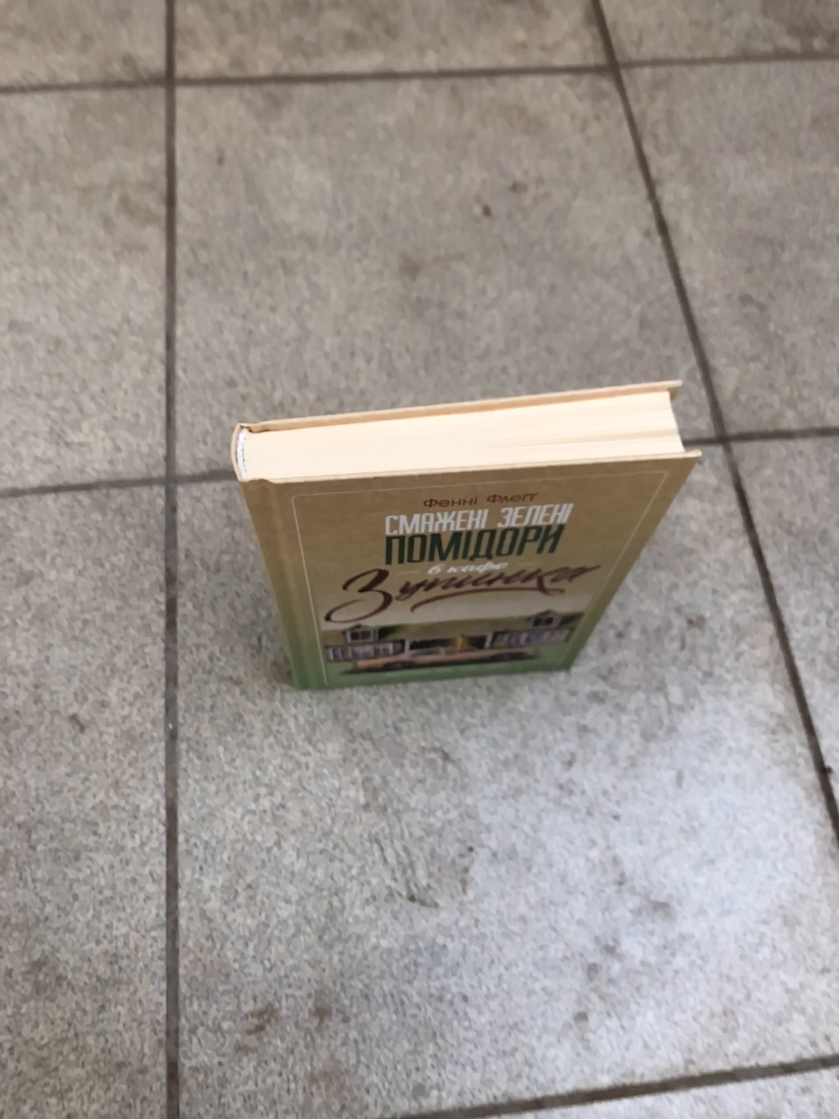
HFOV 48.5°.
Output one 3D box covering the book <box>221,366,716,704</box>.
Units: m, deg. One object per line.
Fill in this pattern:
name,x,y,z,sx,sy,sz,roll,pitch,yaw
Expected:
book,0.010,0.005,0.362,0.140,0.209,0.030,-4,65,-5
